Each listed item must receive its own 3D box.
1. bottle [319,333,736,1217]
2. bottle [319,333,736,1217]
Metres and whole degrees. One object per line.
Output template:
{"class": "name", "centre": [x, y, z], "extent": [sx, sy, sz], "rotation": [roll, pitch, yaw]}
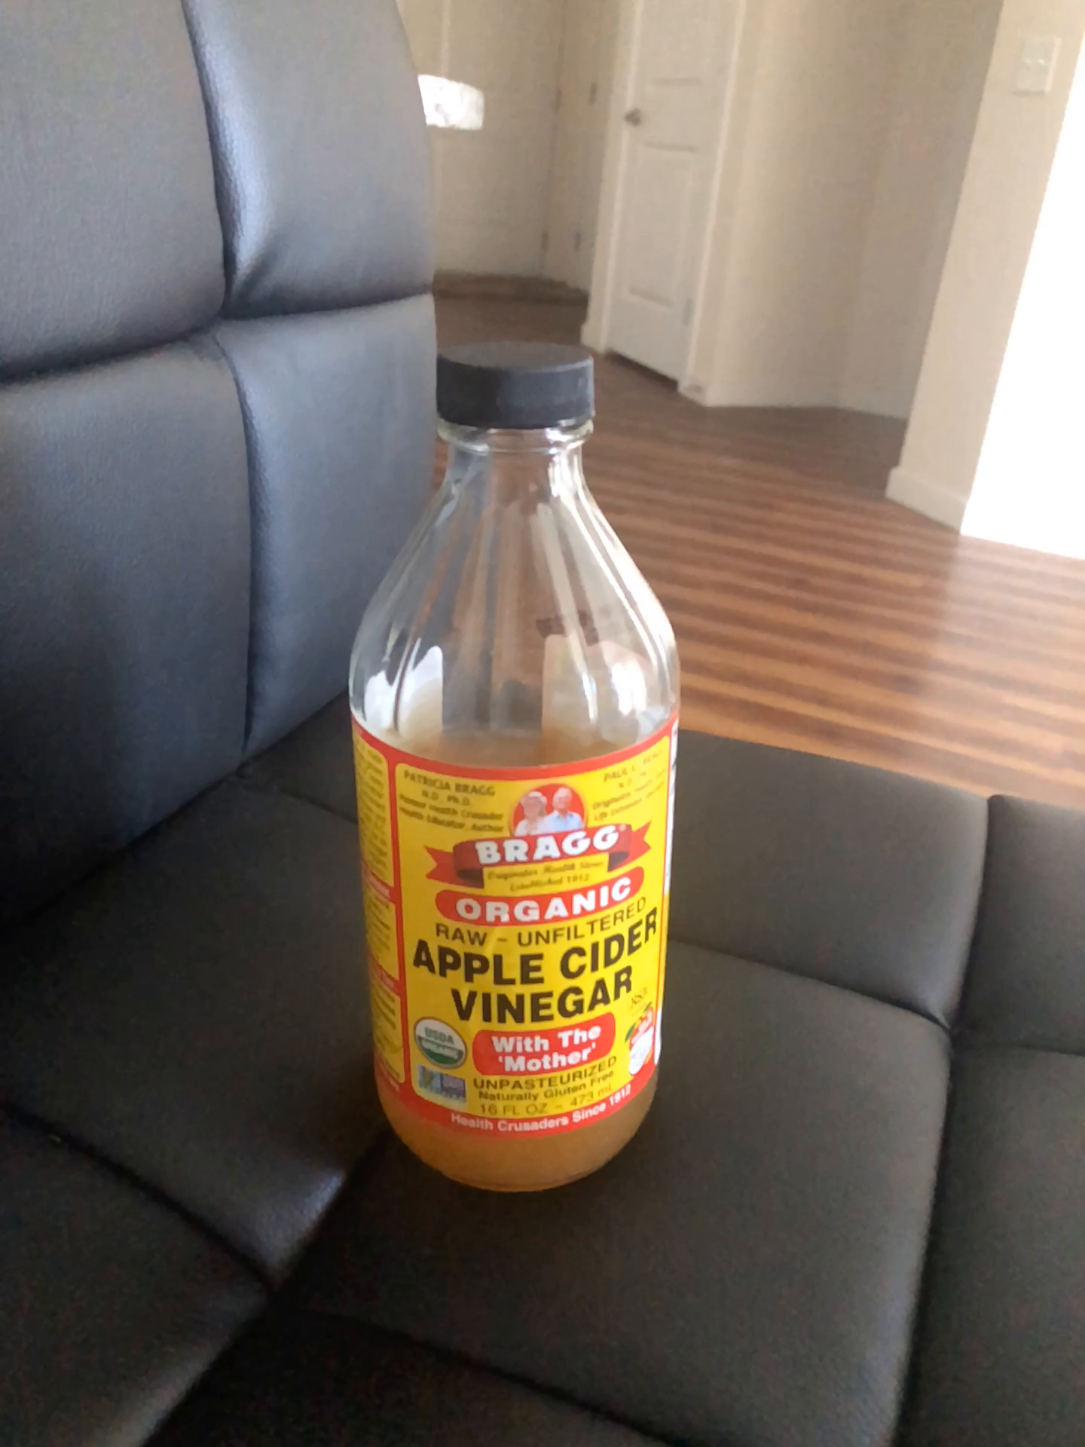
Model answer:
{"class": "bottle", "centre": [-0.006, 0.011, 0.268], "extent": [0.070, 0.179, 0.070], "rotation": [0, 23, 0]}
{"class": "bottle", "centre": [-0.006, 0.011, 0.268], "extent": [0.070, 0.179, 0.070], "rotation": [0, 23, 0]}
